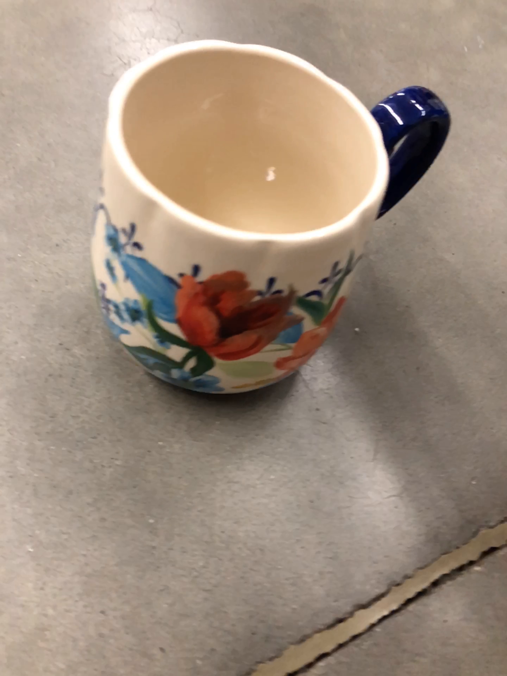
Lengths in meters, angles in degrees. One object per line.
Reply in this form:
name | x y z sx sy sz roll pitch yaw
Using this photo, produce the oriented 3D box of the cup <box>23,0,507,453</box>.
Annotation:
cup | 0.008 -0.045 0.217 0.140 0.100 0.100 -24 70 -22
